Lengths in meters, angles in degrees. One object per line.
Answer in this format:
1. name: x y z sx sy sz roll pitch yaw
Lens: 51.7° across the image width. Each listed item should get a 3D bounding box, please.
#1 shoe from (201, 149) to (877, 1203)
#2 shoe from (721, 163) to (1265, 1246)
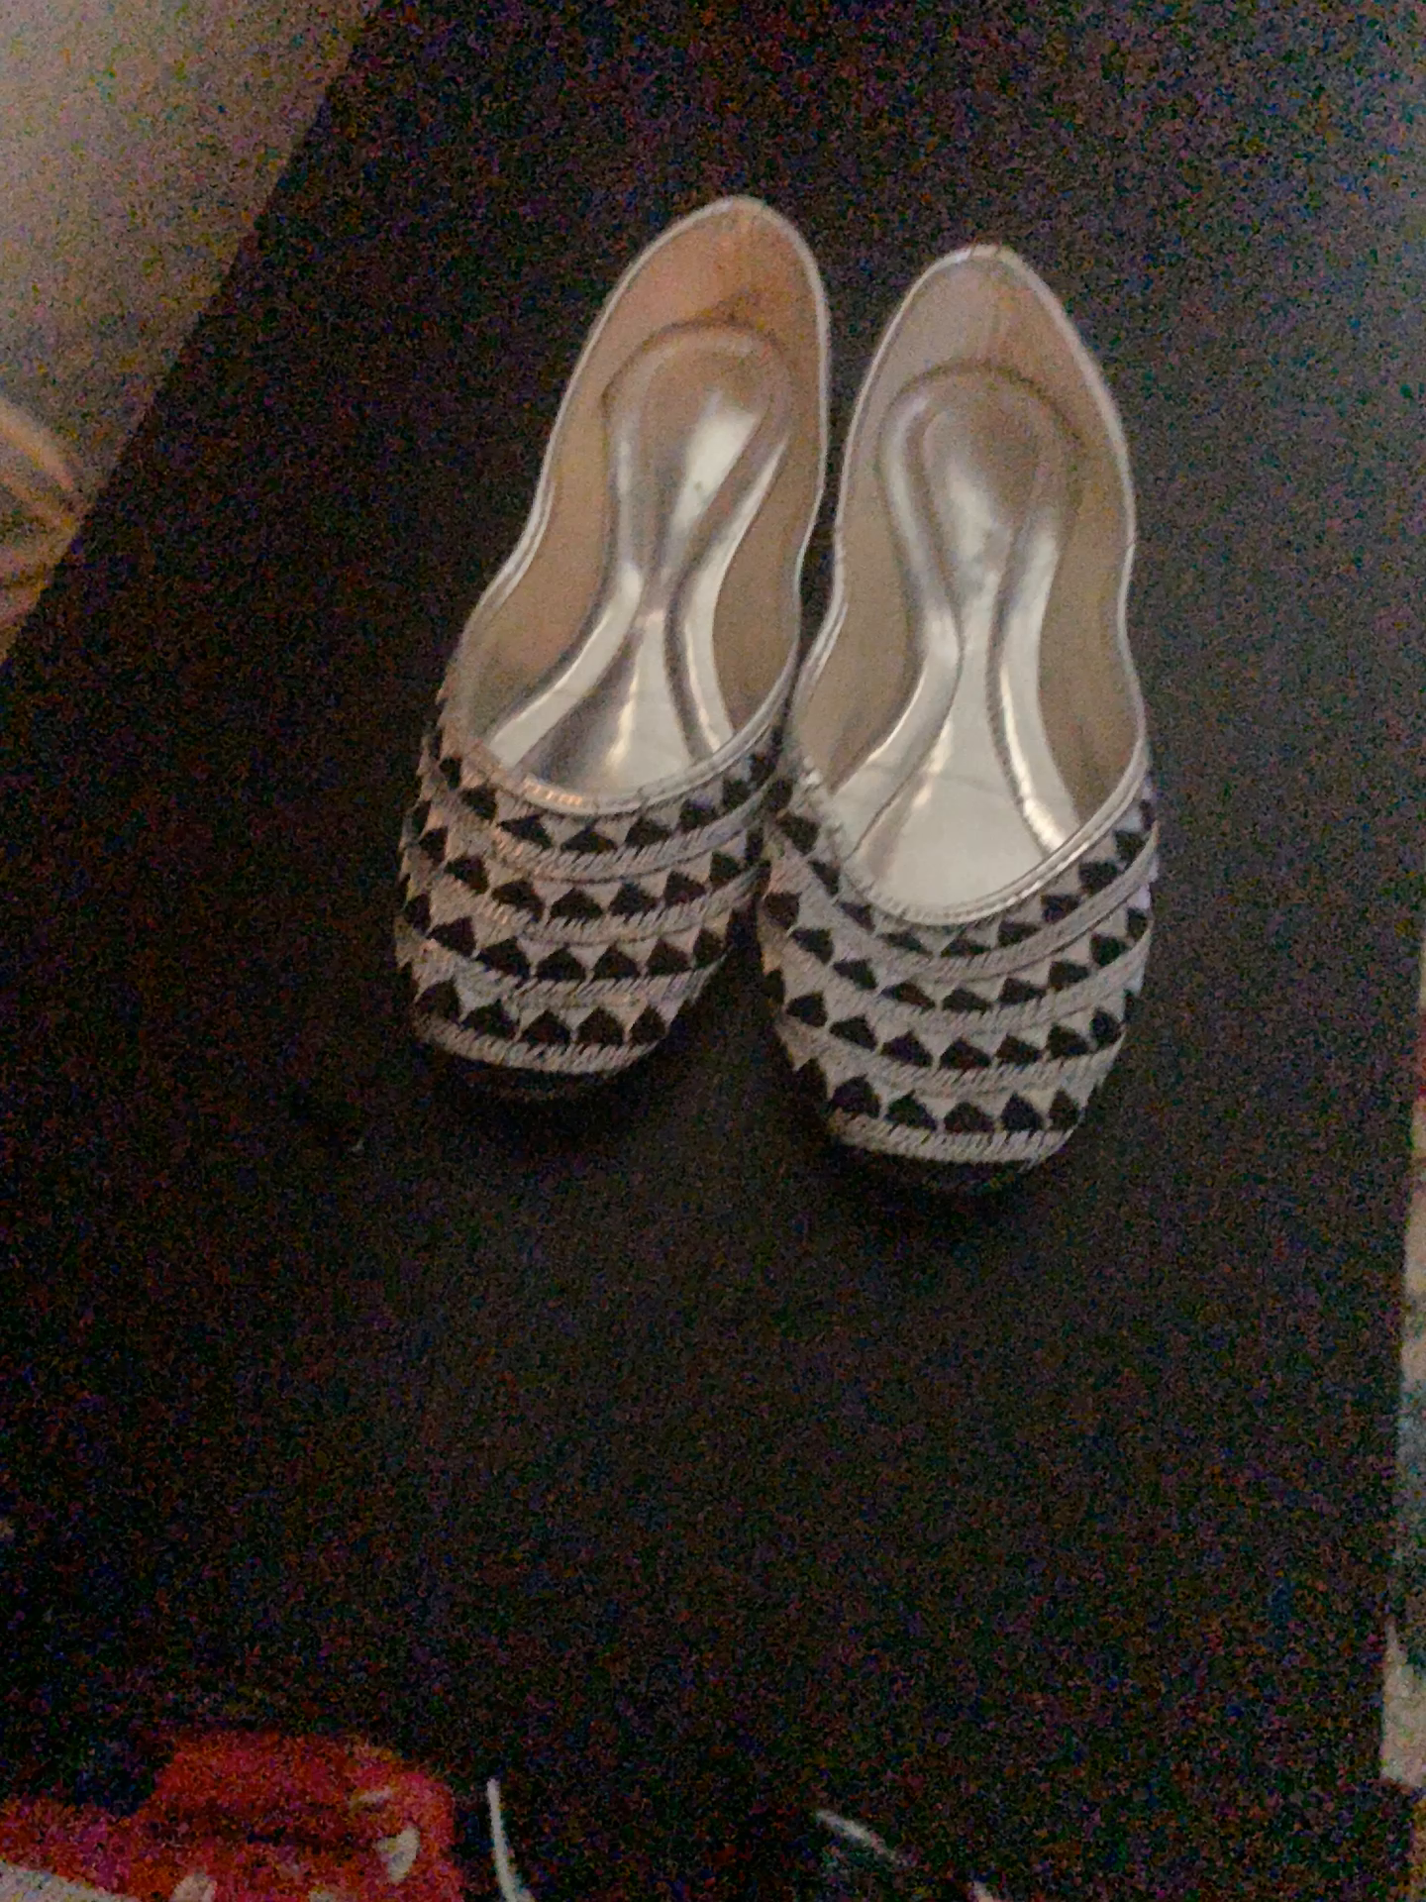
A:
1. shoe: -0.029 -0.083 0.392 0.100 0.080 0.272 10 64 6
2. shoe: 0.066 -0.070 0.365 0.100 0.080 0.261 5 64 3
